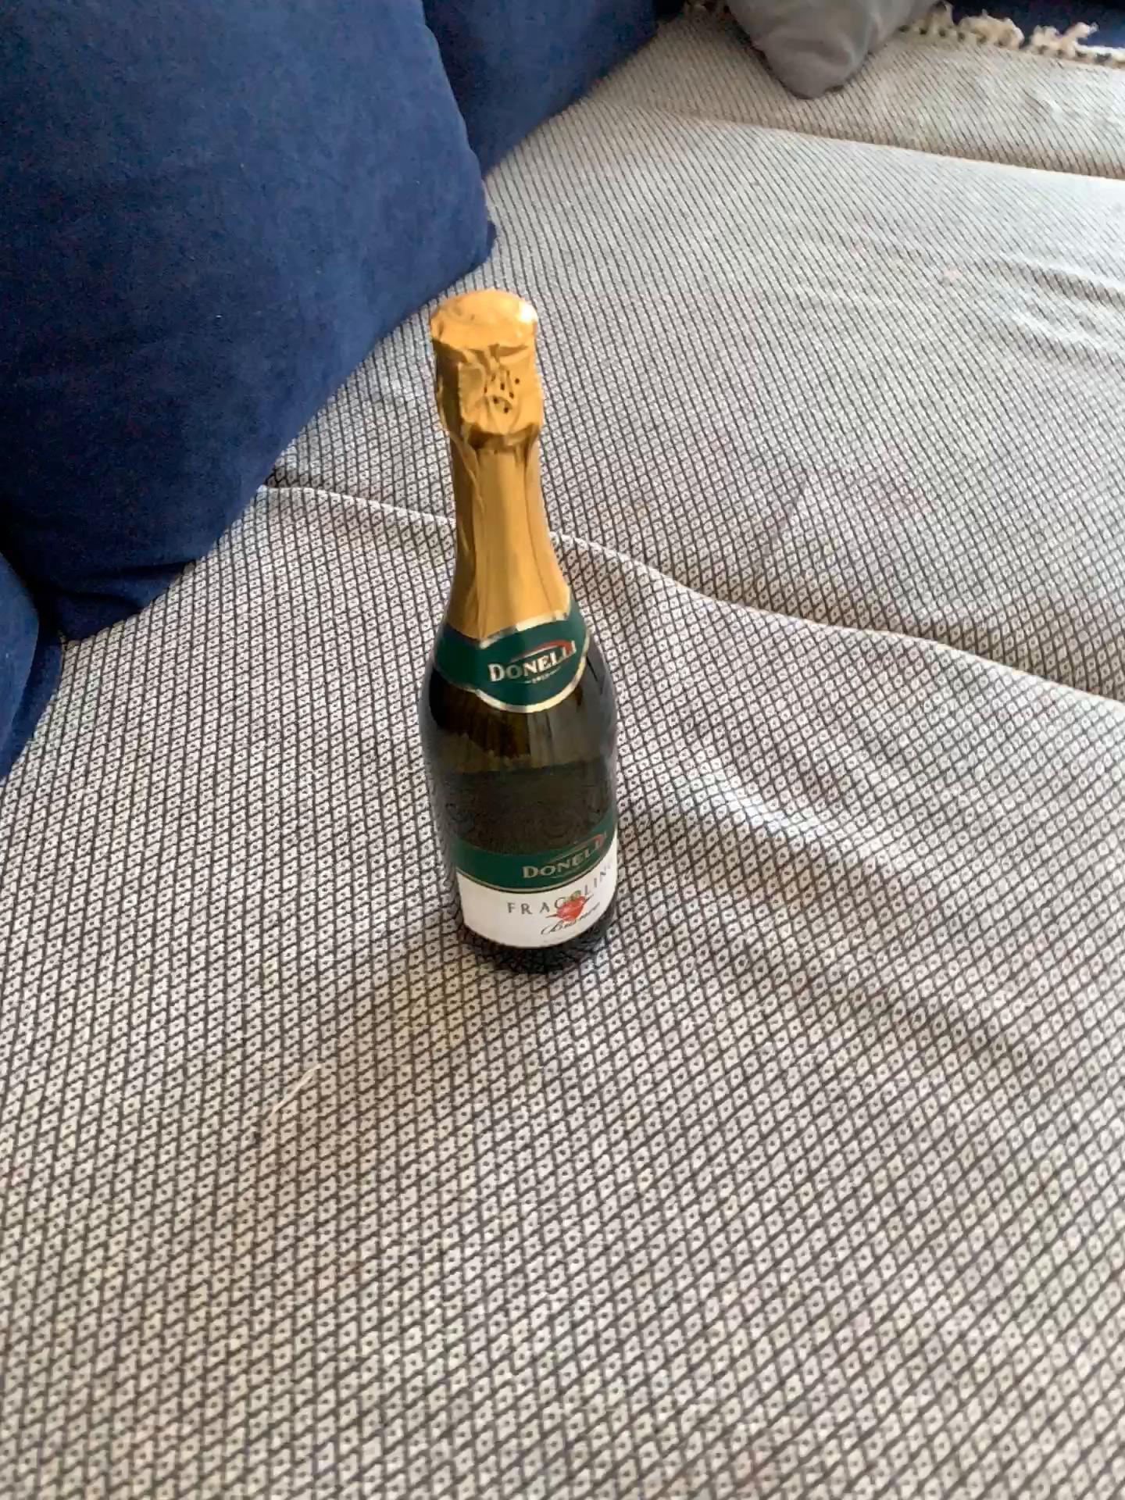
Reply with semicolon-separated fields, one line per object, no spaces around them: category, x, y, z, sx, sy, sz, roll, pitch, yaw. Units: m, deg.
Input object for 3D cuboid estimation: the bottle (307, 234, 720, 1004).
bottle;-0.015;-0.027;0.442;0.090;0.289;0.090;0;49;0
